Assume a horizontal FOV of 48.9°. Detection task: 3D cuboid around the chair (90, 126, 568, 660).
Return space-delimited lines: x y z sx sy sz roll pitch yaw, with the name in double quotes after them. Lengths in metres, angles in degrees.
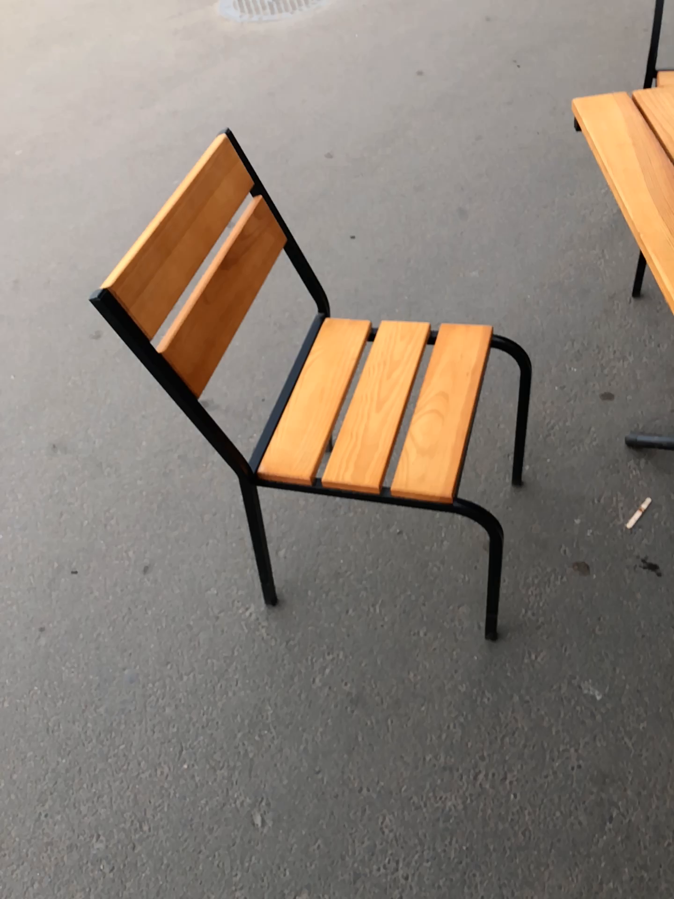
0.063 -0.086 1.334 0.560 0.767 0.501 8 50 17 "chair"
